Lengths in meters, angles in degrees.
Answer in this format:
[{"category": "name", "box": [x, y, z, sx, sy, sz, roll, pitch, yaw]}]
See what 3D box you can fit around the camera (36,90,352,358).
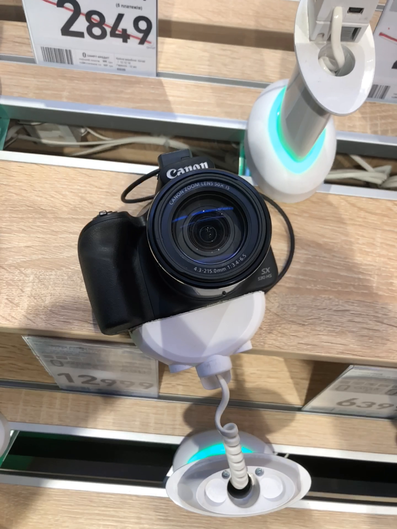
[{"category": "camera", "box": [-0.006, -0.017, 0.265, 0.133, 0.091, 0.107, -16, 81, -7]}]
